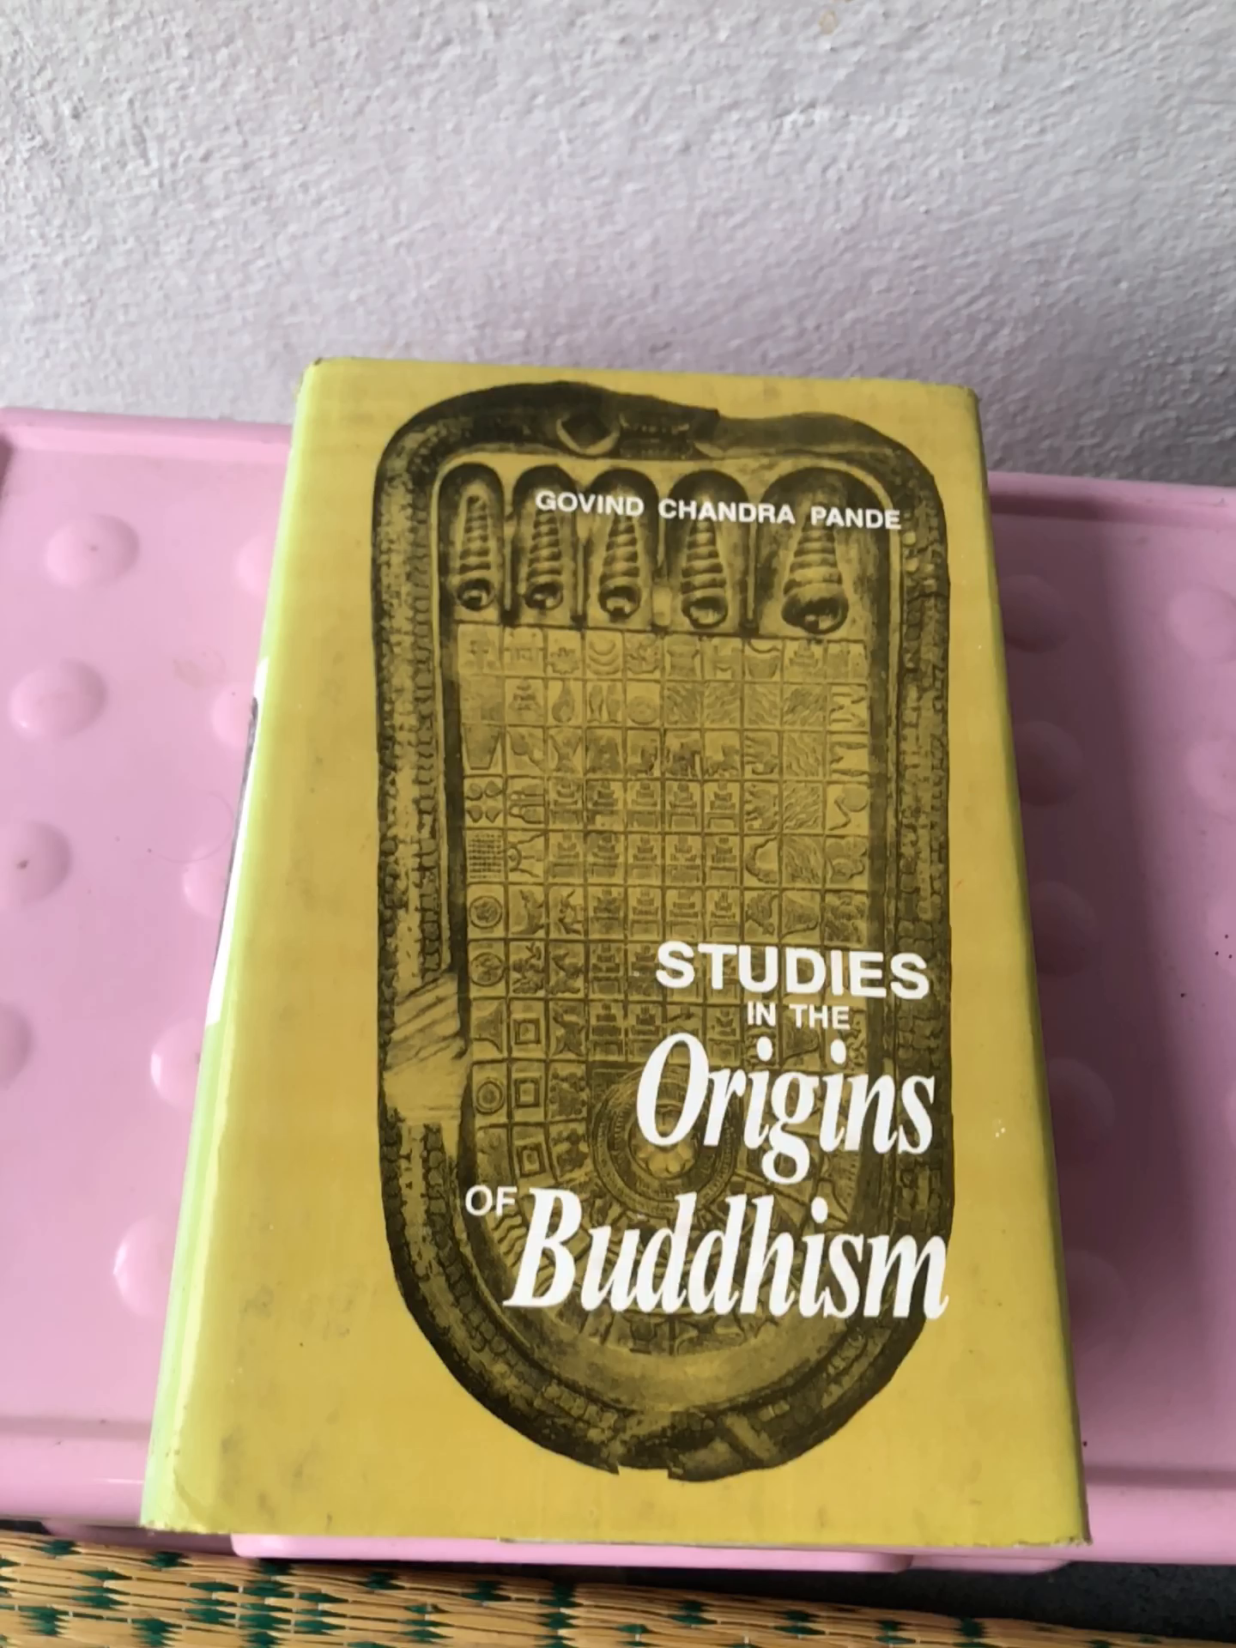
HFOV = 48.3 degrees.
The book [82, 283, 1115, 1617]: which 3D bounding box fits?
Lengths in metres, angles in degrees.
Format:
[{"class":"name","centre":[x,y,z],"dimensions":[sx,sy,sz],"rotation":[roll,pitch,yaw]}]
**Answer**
[{"class":"book","centre":[0.001,0.010,0.264],"dimensions":[0.150,0.040,0.240],"rotation":[3,68,-3]}]
